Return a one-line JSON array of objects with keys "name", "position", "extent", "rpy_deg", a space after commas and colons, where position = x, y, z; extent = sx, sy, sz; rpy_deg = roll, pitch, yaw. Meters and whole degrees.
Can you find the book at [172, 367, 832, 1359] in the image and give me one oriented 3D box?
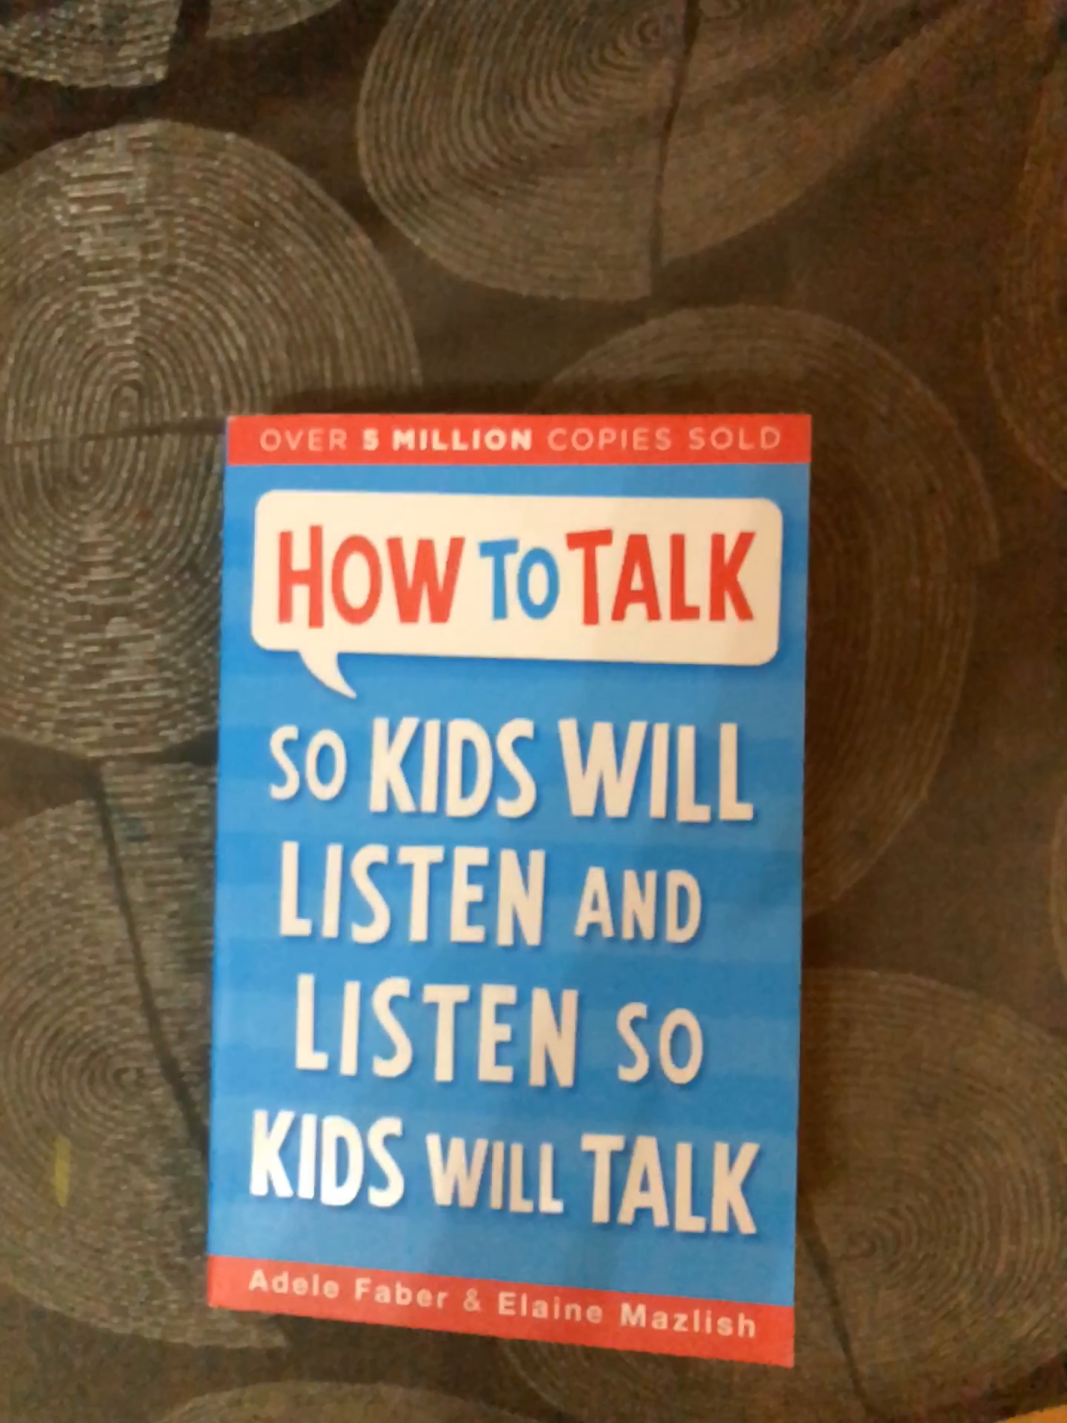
[{"name": "book", "position": [-0.008, 0.032, 0.272], "extent": [0.140, 0.030, 0.210], "rpy_deg": [1, 93, 6]}]
